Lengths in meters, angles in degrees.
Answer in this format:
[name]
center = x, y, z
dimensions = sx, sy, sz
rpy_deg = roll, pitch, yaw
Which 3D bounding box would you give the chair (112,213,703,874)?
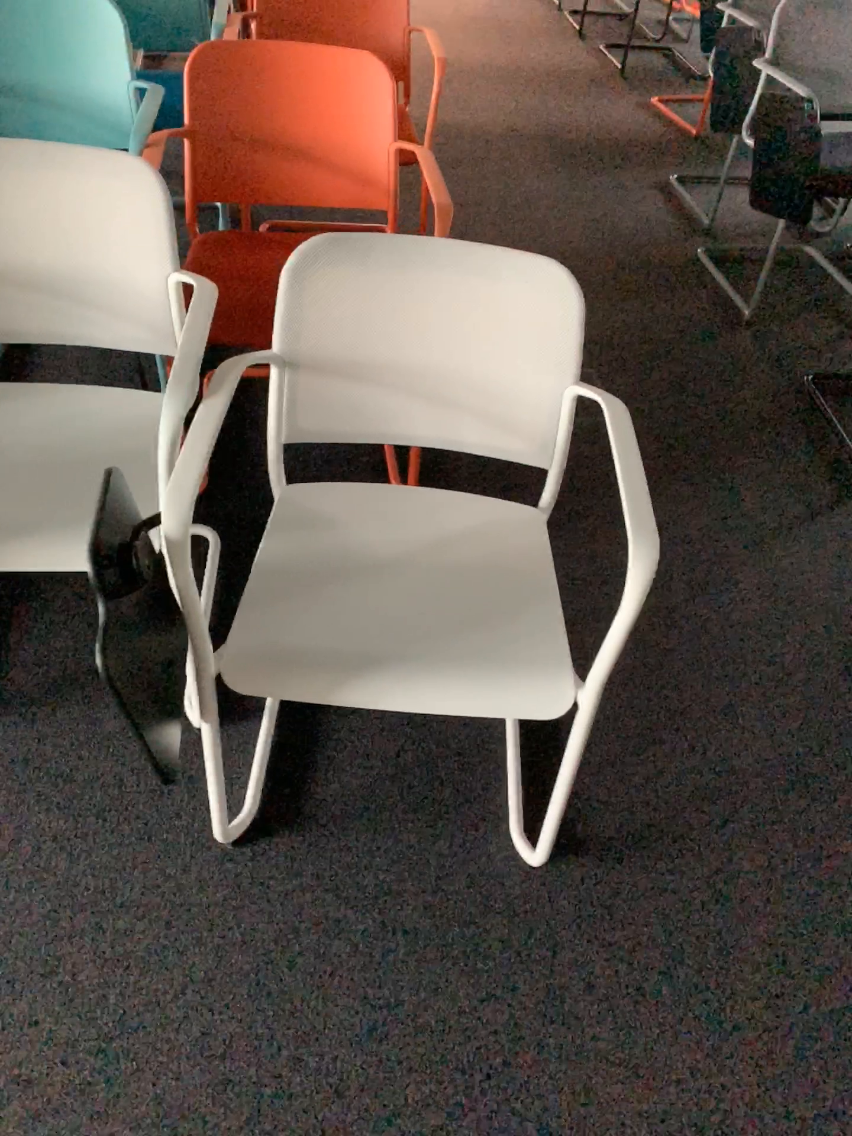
[chair]
center = -0.038, -0.005, 1.283
dimensions = 0.561, 0.756, 0.553
rpy_deg = 5, 45, -2
